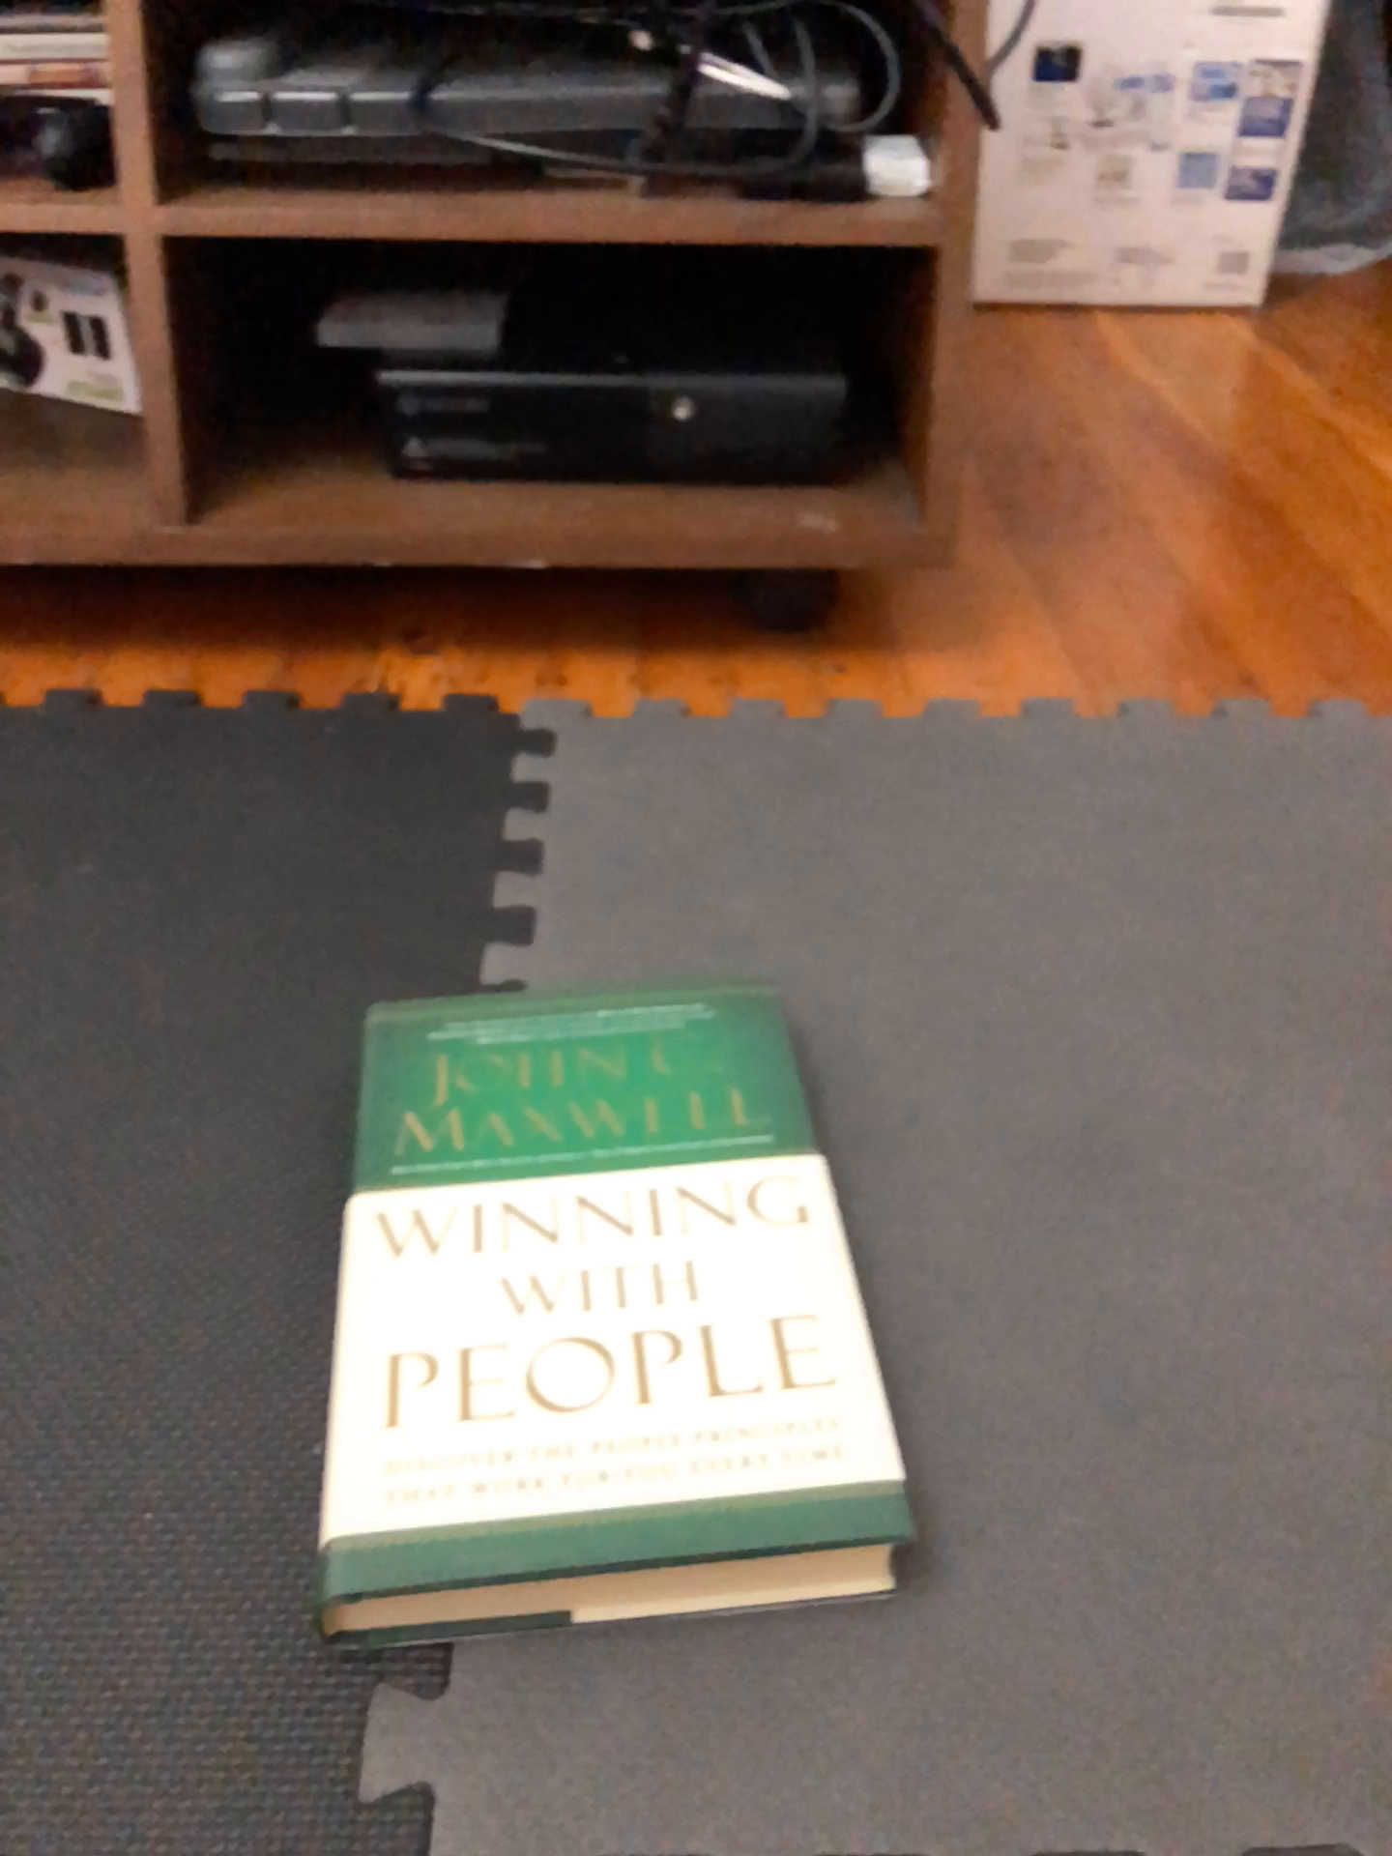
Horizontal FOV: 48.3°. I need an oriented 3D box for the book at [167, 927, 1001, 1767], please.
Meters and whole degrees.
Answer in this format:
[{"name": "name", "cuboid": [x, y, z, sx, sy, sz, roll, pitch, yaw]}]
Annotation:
[{"name": "book", "cuboid": [-0.038, 0.103, 0.498, 0.200, 0.030, 0.292, -3, 37, -5]}]
